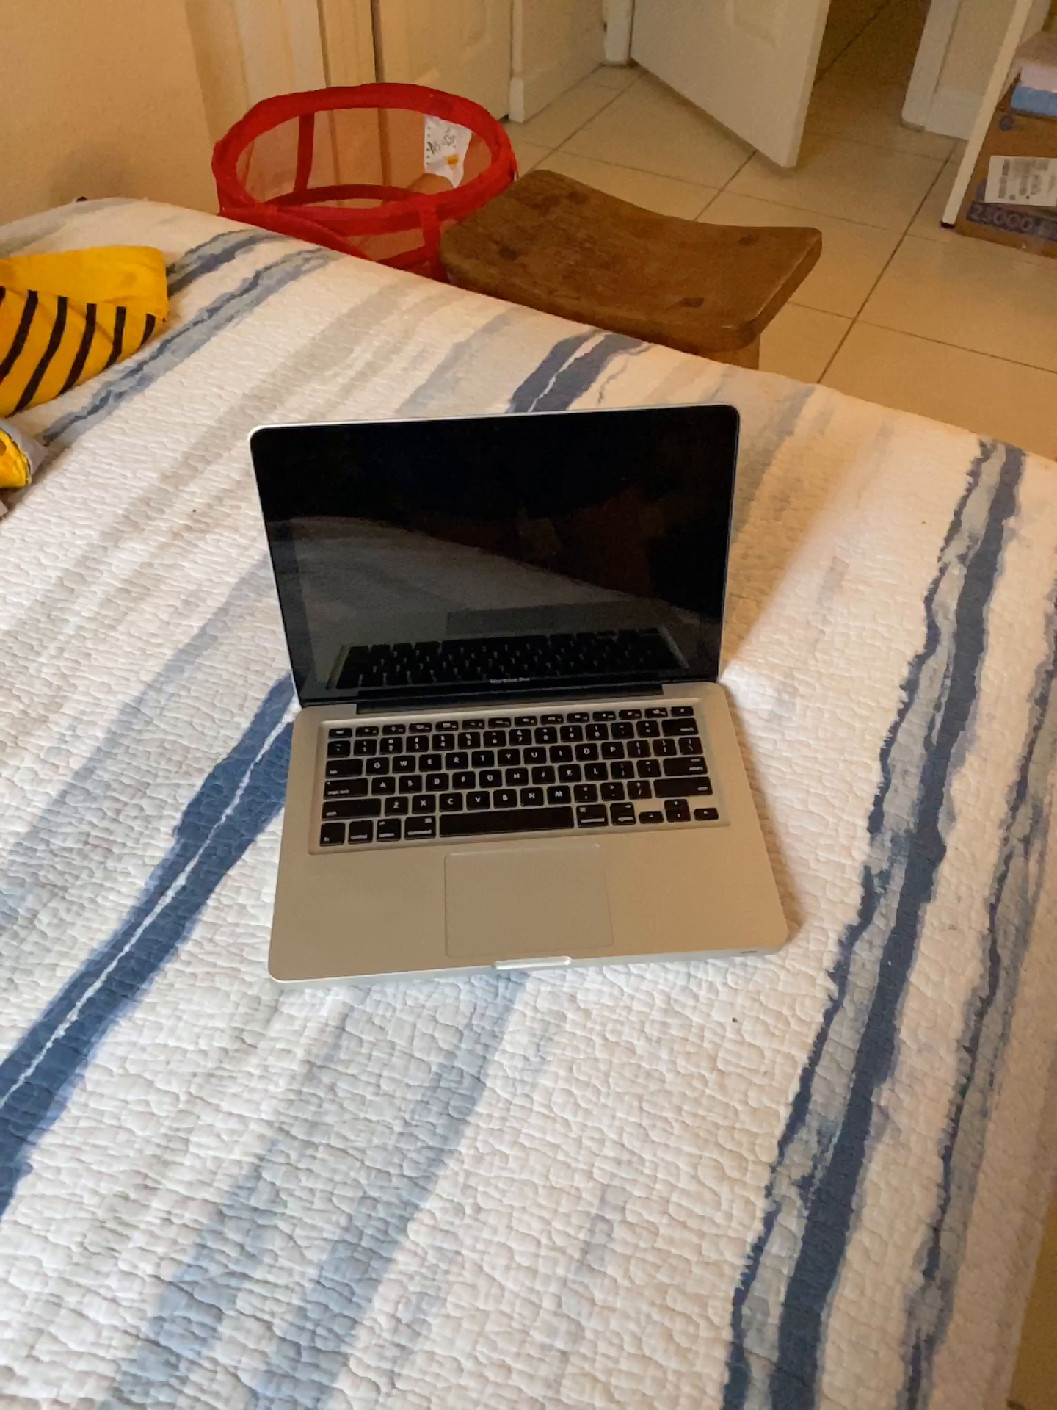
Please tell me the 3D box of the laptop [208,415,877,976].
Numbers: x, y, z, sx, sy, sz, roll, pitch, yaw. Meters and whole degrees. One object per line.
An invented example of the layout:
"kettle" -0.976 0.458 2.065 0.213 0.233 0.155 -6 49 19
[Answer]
"laptop" -0.005 -0.013 0.680 0.318 0.199 0.279 -3 47 -3
